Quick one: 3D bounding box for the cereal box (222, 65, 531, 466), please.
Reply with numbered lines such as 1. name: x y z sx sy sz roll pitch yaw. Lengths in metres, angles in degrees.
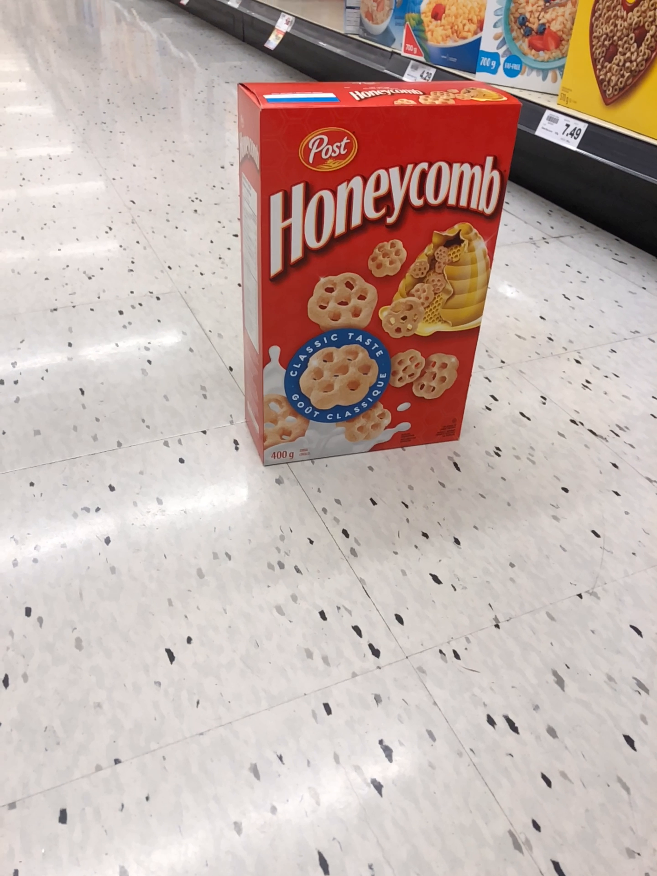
1. cereal box: 0.025 -0.132 0.589 0.200 0.298 0.080 -7 38 -15
